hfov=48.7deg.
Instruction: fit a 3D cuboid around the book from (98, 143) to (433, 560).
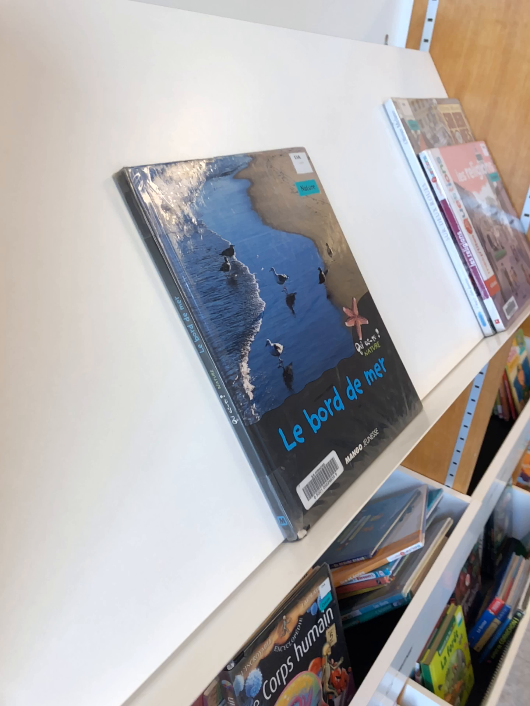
[{"bbox_3d":[0.023,-0.024,0.413,0.020,0.244,0.210,-22,5,40],"label":"book"}]
